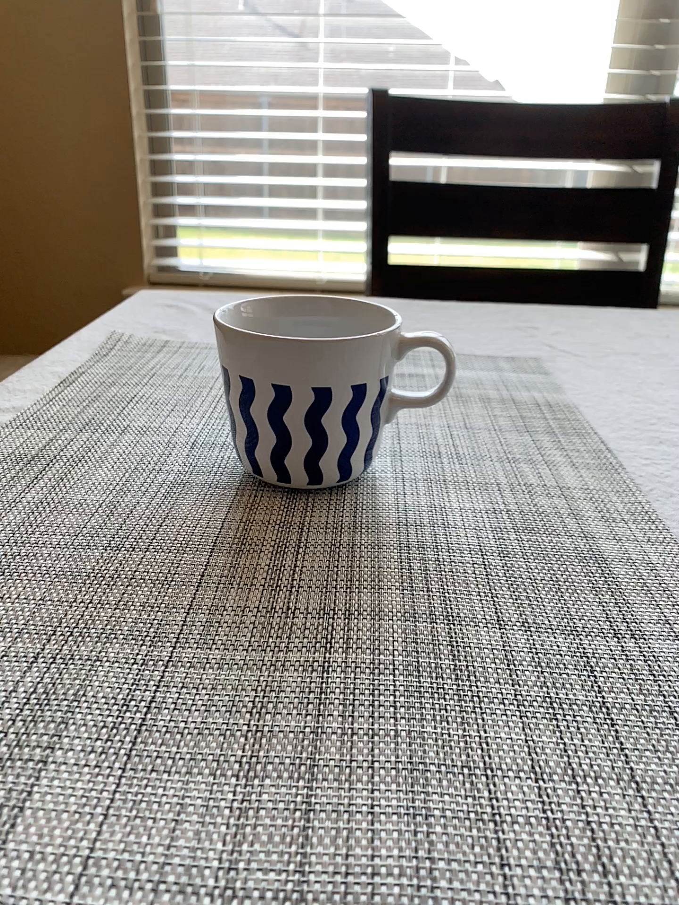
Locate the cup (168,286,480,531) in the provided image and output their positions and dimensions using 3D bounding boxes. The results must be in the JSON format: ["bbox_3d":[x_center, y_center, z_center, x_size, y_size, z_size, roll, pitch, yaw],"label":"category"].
[{"bbox_3d":[-0.003,-0.027,0.320,0.112,0.072,0.087,9,25,17],"label":"cup"}]
